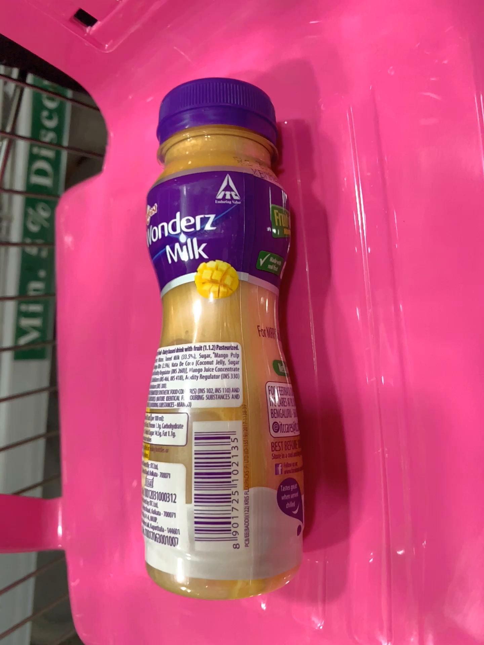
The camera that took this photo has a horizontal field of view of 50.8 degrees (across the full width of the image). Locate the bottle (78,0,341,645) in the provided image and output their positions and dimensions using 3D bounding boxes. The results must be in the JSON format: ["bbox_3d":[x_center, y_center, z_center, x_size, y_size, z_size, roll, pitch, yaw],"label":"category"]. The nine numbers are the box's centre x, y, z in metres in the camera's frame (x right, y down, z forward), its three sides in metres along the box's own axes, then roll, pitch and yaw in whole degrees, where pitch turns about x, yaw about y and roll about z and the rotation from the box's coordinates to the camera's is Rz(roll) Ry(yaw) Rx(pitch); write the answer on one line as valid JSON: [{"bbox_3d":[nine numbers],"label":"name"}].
[{"bbox_3d":[-0.011,-0.001,0.160,0.050,0.050,0.160,-8,84,41],"label":"bottle"}]
